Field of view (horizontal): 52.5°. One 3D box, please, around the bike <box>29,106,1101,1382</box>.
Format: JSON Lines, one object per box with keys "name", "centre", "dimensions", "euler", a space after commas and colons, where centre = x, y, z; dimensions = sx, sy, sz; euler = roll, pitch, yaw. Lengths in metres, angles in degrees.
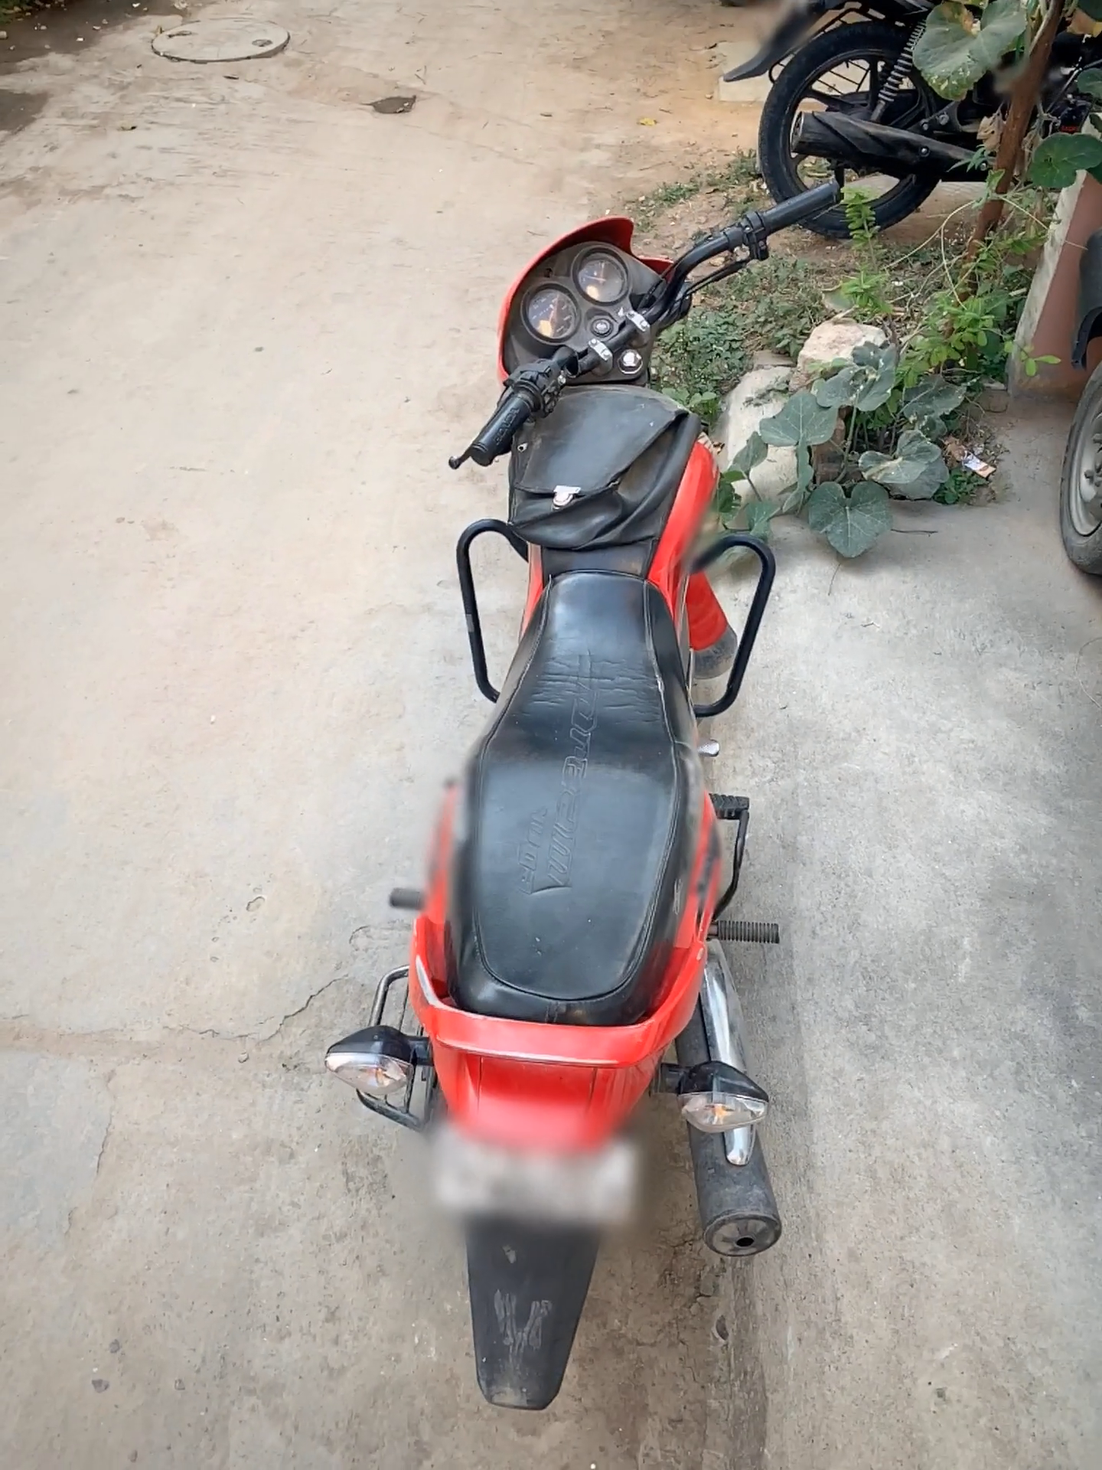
{"name": "bike", "centre": [-0.009, -0.099, 1.760], "dimensions": [0.758, 1.093, 1.714], "euler": [0, 47, -1]}
